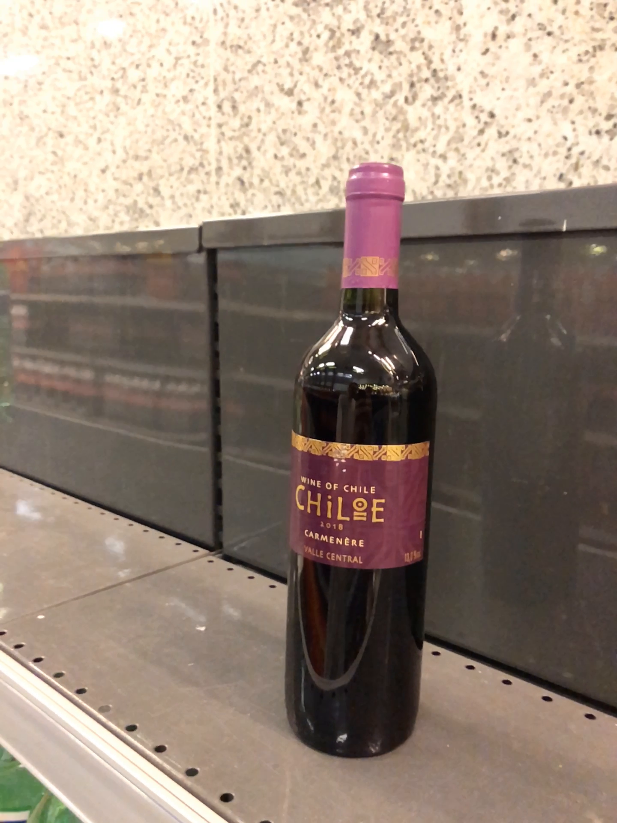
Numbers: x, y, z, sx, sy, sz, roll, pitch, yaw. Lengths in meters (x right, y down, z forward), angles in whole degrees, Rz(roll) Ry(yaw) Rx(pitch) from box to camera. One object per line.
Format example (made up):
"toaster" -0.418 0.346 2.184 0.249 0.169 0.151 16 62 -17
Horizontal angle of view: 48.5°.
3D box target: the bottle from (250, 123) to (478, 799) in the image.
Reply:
"bottle" 0.030 0.025 0.370 0.090 0.319 0.080 5 11 27
